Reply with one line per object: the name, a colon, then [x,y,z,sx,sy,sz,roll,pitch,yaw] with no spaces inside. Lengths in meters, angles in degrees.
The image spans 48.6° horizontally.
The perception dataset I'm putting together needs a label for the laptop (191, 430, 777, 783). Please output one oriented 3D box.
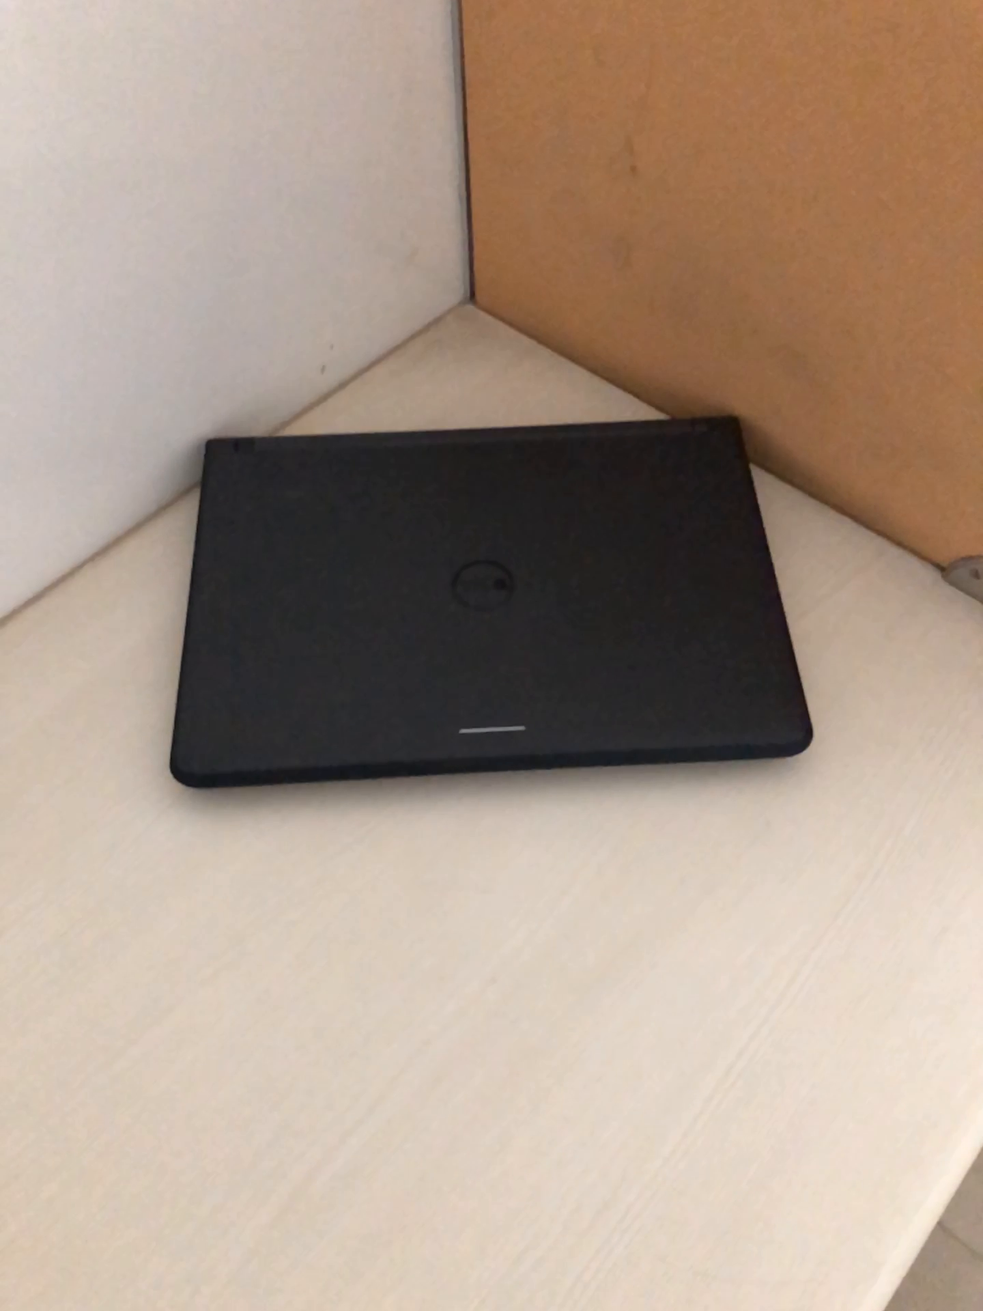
laptop: [-0.012,-0.037,0.606,0.290,0.007,0.228,-3,55,0]
